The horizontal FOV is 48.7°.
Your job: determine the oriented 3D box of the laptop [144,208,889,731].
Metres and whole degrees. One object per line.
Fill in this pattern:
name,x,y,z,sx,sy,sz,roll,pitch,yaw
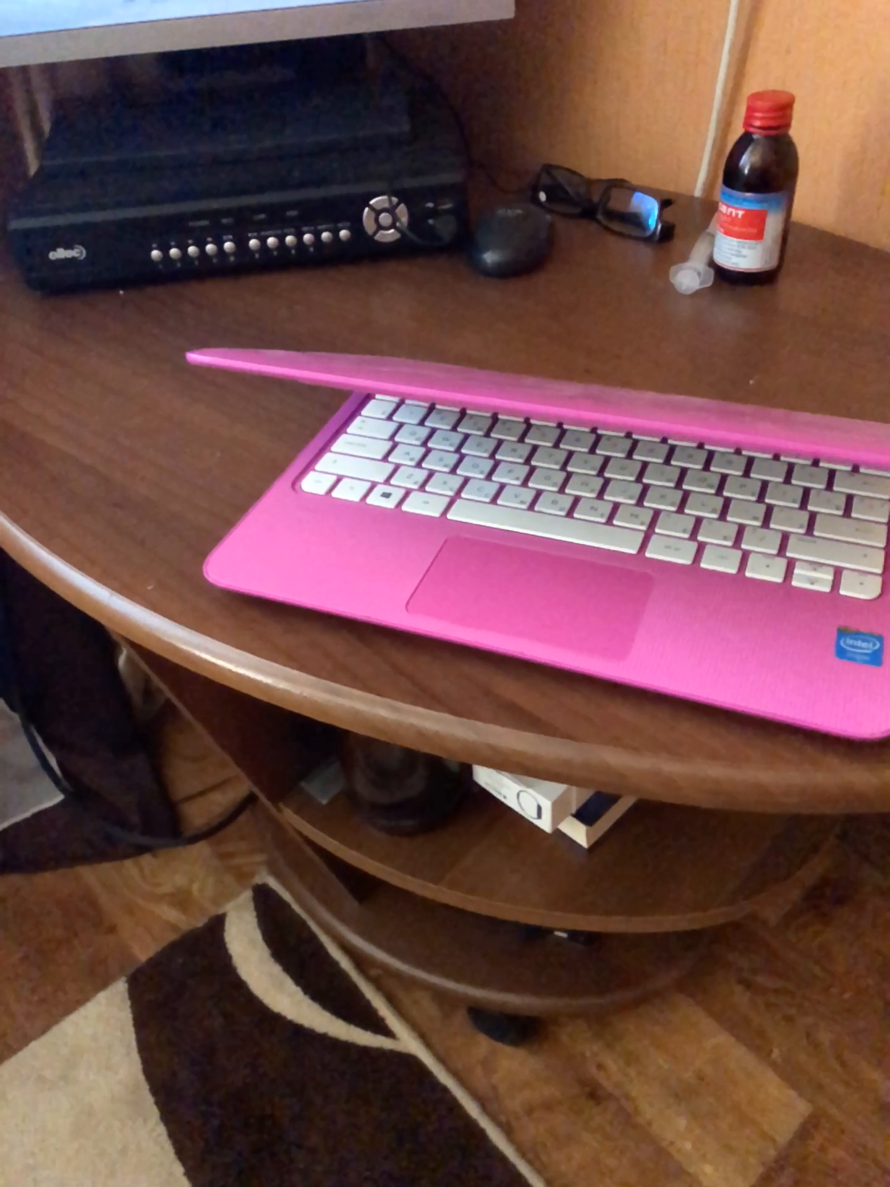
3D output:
laptop,0.053,-0.071,0.394,0.264,0.081,0.187,12,43,19
